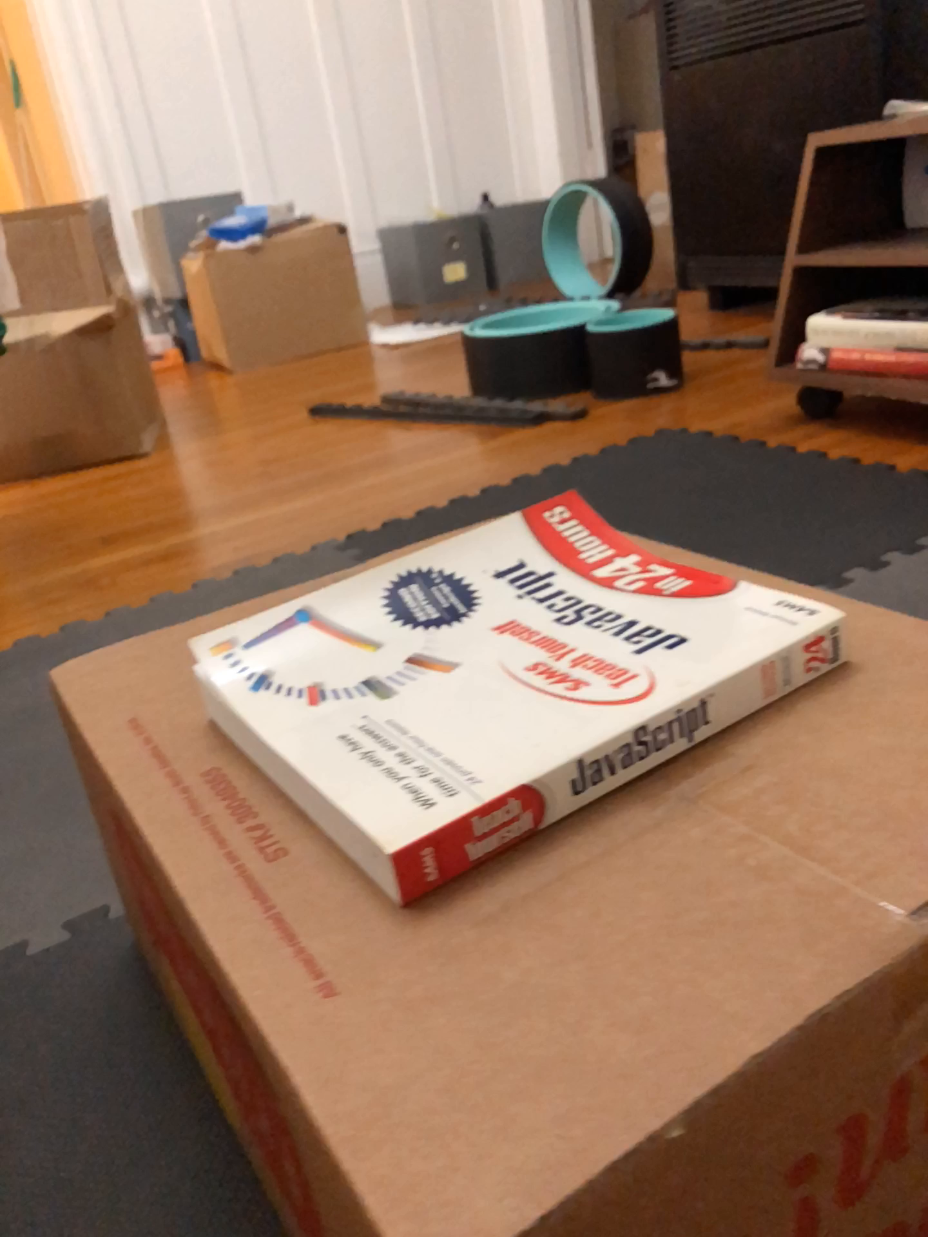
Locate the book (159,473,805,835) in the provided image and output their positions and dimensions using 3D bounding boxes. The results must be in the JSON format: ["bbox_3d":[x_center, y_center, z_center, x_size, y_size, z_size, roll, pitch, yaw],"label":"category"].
[{"bbox_3d":[0.002,-0.005,0.496,0.240,0.030,0.201,-24,27,-27],"label":"book"}]
